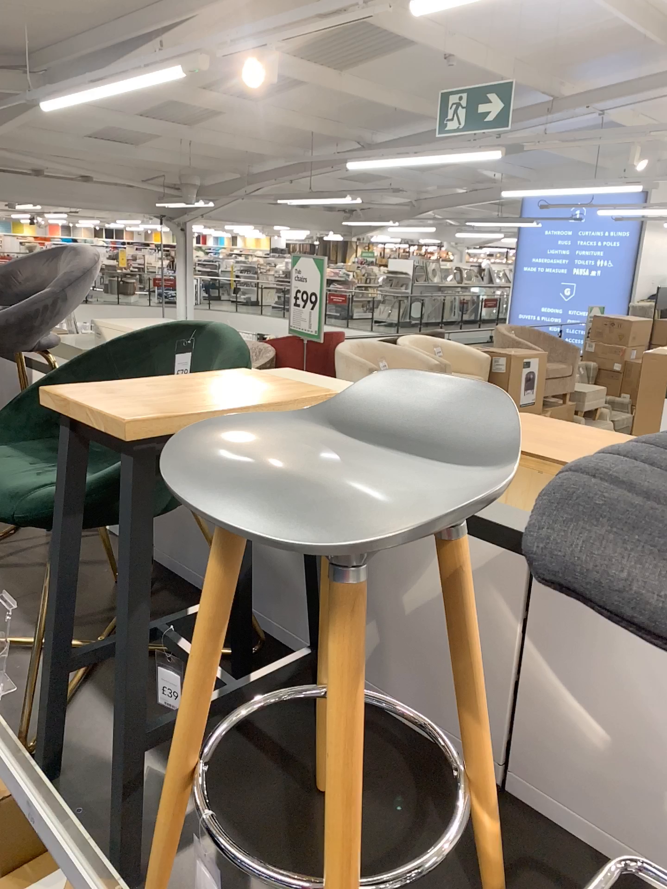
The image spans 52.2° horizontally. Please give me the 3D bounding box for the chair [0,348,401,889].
[{"bbox_3d":[-0.238,0.215,1.197,0.443,0.686,0.502,16,20,42],"label":"chair"}]

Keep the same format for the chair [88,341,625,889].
[{"bbox_3d":[0.009,0.270,0.898,0.462,0.736,0.443,-10,20,-43],"label":"chair"}]
